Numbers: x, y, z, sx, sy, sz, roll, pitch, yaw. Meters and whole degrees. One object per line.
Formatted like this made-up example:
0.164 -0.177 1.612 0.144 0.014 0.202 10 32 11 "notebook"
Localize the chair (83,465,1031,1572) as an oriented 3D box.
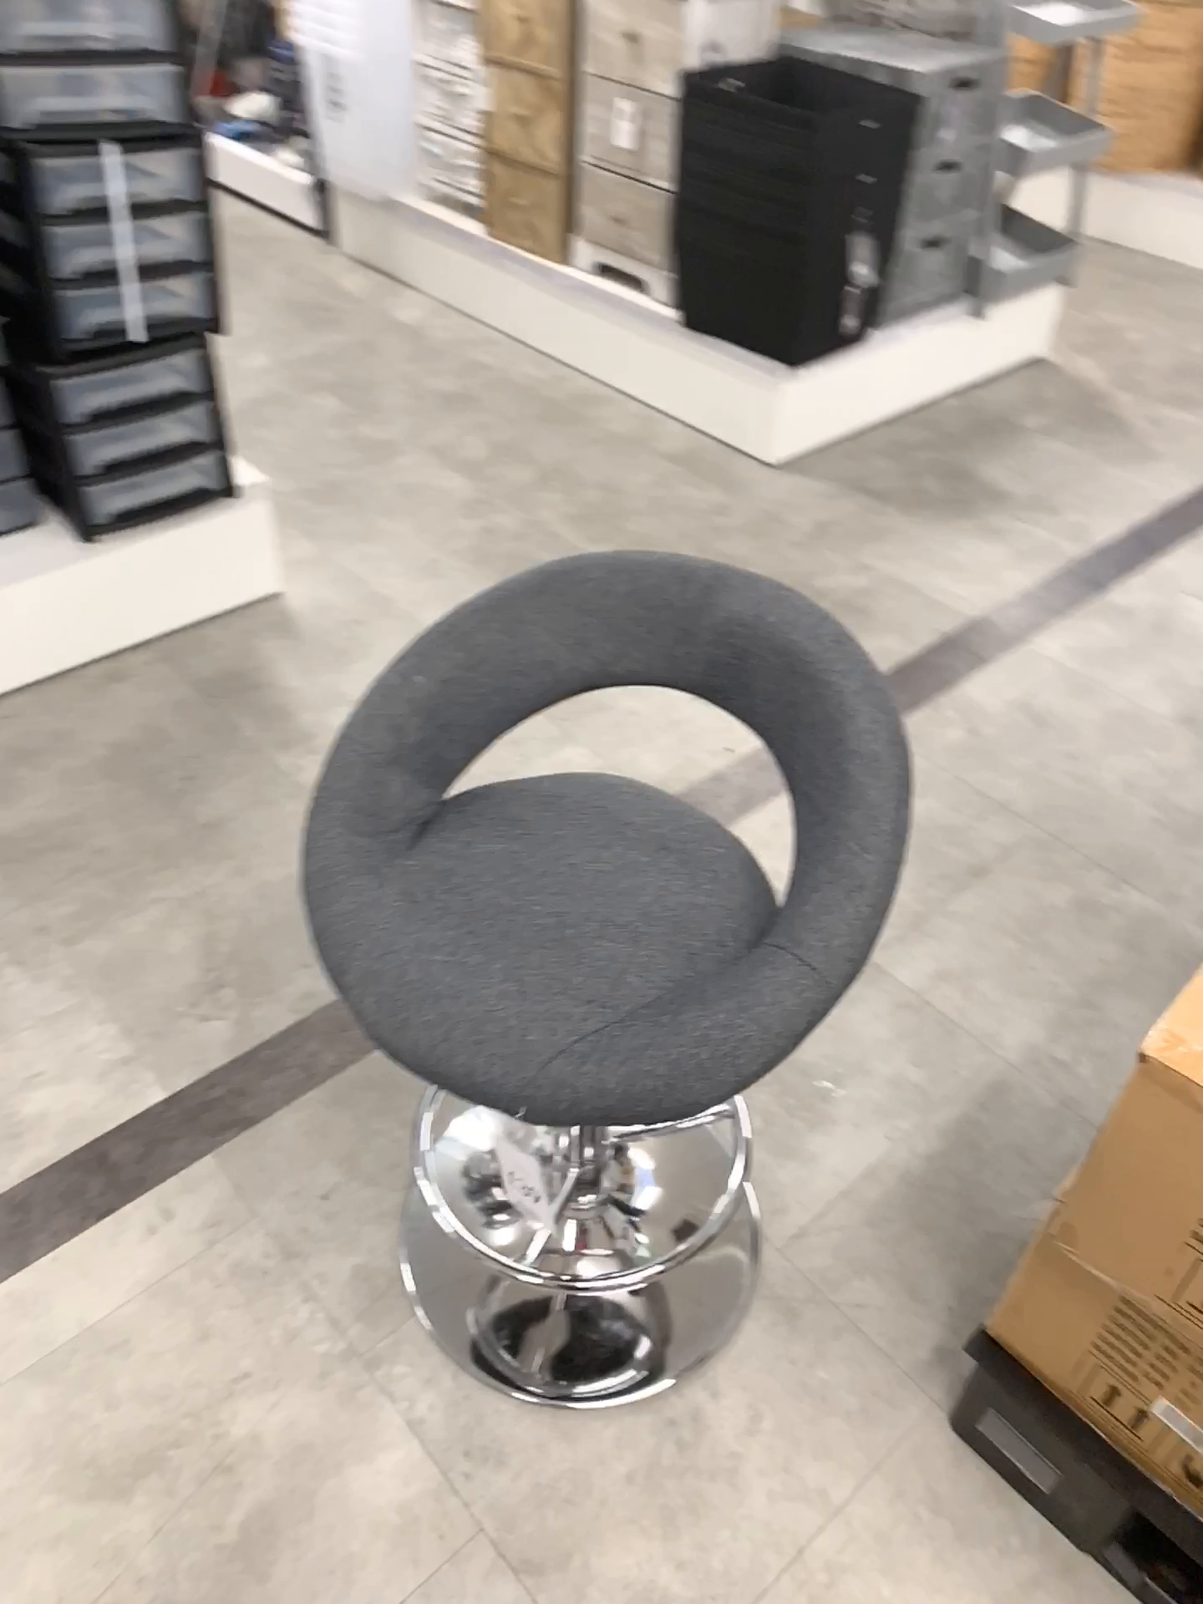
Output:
-0.048 0.204 1.204 0.548 0.788 0.487 32 49 30 "chair"
